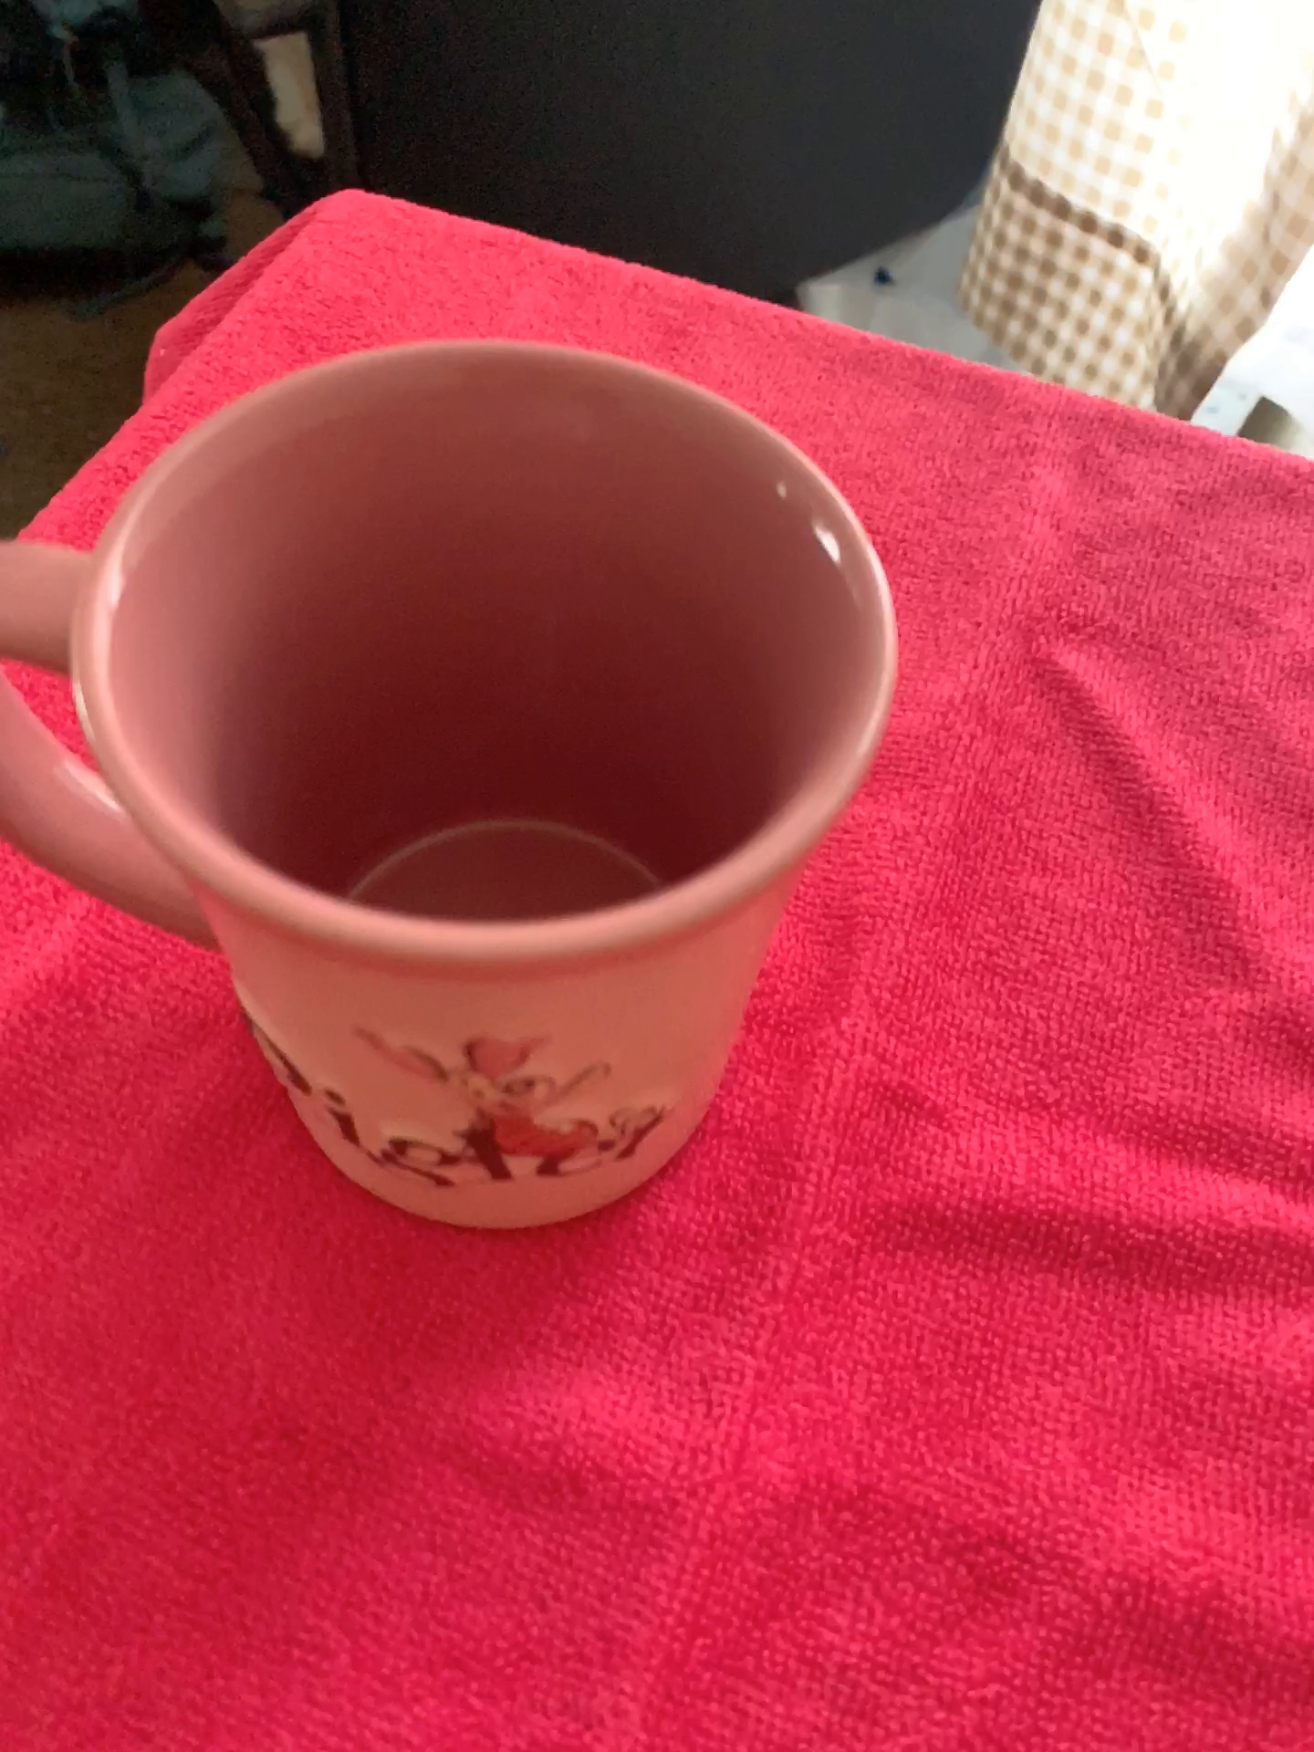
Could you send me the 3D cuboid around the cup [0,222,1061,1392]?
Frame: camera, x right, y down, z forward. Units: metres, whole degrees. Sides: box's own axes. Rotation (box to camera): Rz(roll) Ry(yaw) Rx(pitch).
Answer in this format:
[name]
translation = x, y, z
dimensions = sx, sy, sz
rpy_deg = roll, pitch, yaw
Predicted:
[cup]
translation = -0.029, -0.003, 0.194
dimensions = 0.130, 0.109, 0.091
rpy_deg = 16, 57, 5
